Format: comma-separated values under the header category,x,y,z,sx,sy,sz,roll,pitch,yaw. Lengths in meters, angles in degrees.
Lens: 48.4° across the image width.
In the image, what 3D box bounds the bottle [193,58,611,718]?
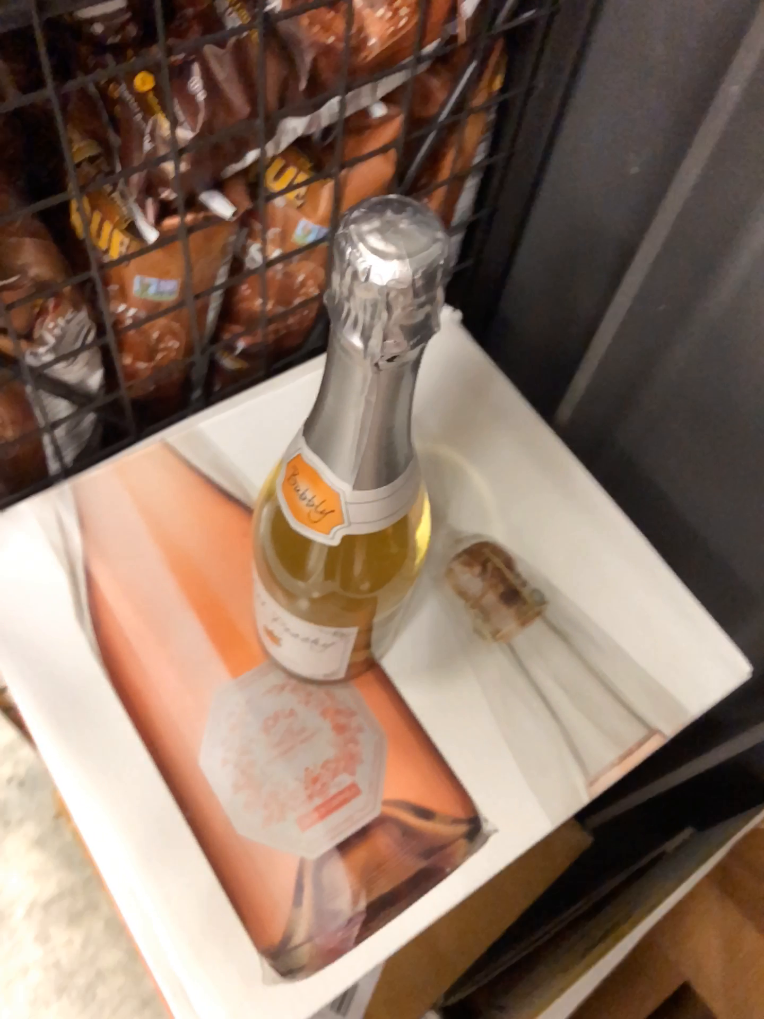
category,x,y,z,sx,sy,sz,roll,pitch,yaw
bottle,-0.012,-0.011,0.372,0.087,0.319,0.078,-39,72,-25
